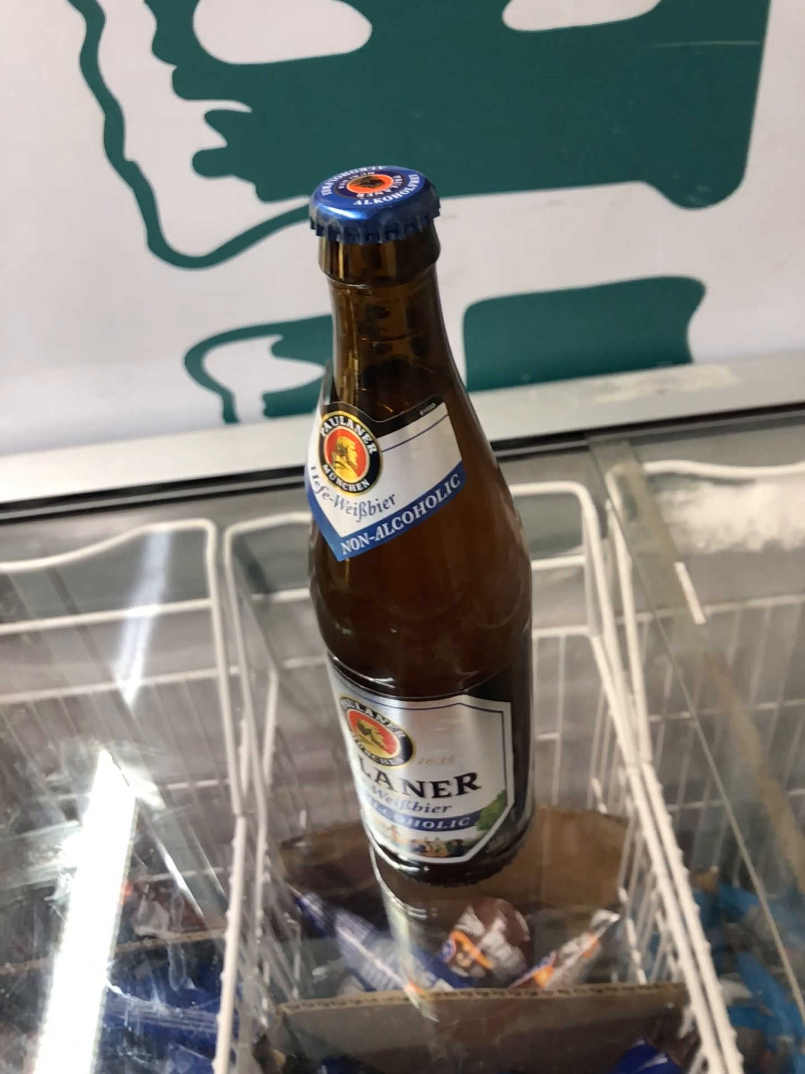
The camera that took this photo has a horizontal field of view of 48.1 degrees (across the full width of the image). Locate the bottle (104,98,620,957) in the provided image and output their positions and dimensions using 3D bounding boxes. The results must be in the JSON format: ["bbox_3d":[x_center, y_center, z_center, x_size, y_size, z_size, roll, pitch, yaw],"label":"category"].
[{"bbox_3d":[0.004,0.018,0.267,0.080,0.248,0.070,26,52,32],"label":"bottle"}]
